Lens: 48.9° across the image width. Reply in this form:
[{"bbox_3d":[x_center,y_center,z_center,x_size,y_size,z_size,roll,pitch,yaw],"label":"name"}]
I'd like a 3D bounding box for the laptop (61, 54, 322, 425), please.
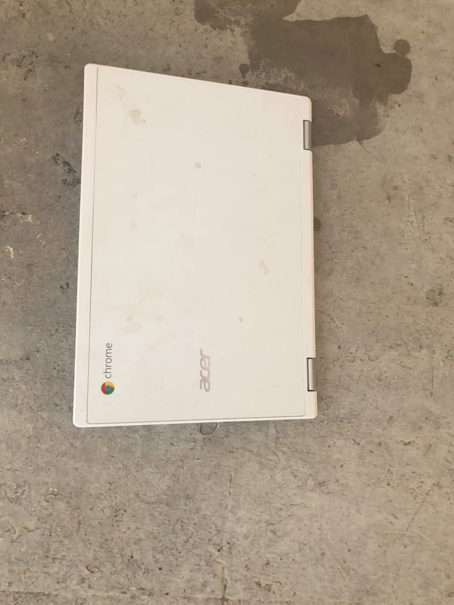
[{"bbox_3d":[-0.024,-0.048,0.402,0.190,0.046,0.278,1,83,-8],"label":"laptop"}]
